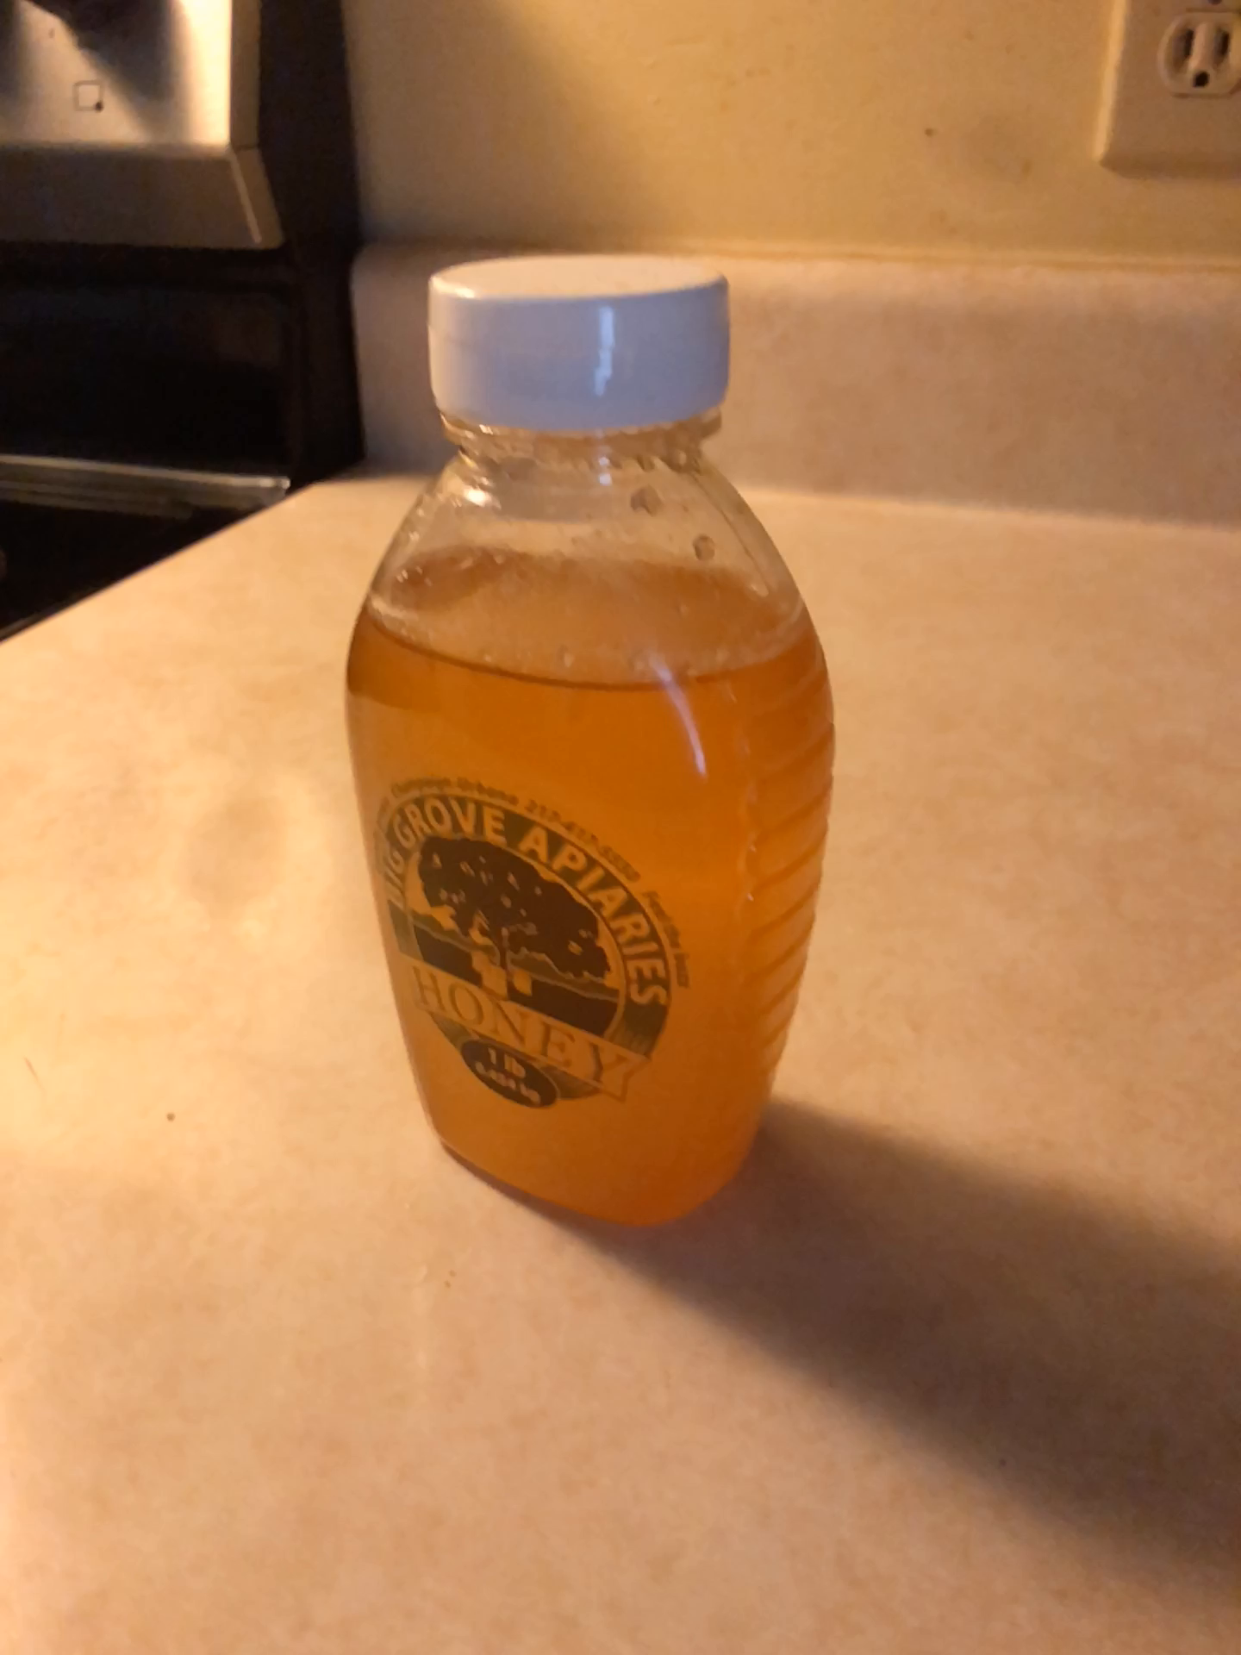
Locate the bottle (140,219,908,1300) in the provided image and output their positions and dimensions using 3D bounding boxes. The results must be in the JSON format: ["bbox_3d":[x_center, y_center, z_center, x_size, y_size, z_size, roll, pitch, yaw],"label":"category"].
[{"bbox_3d":[-0.011,-0.014,0.213,0.080,0.140,0.060,15,31,27],"label":"bottle"}]
